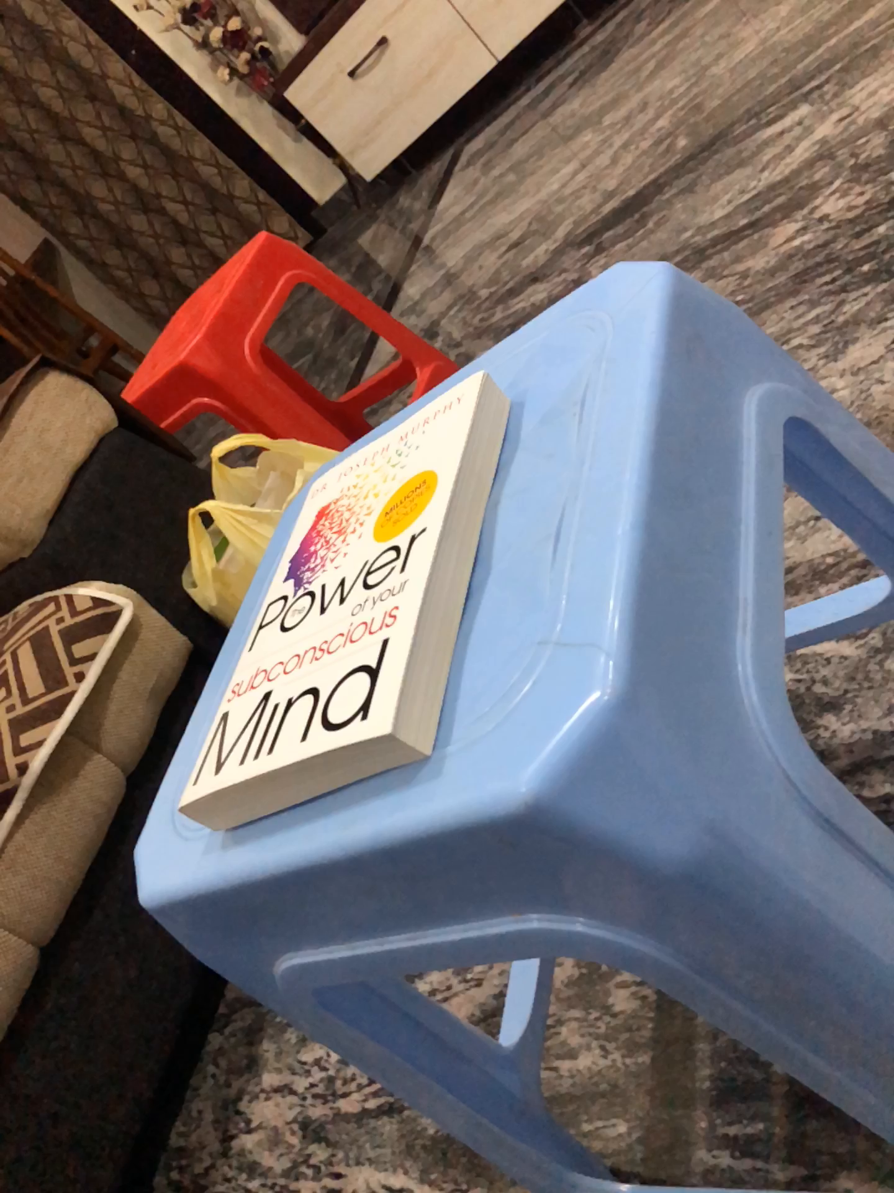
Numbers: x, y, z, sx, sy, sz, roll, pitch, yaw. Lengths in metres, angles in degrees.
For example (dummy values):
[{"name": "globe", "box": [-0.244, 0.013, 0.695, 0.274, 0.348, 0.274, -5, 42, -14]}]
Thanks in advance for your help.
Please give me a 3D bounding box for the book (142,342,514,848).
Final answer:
[{"name": "book", "box": [-0.047, -0.004, 0.424, 0.140, 0.030, 0.200, -27, 36, 39]}]
